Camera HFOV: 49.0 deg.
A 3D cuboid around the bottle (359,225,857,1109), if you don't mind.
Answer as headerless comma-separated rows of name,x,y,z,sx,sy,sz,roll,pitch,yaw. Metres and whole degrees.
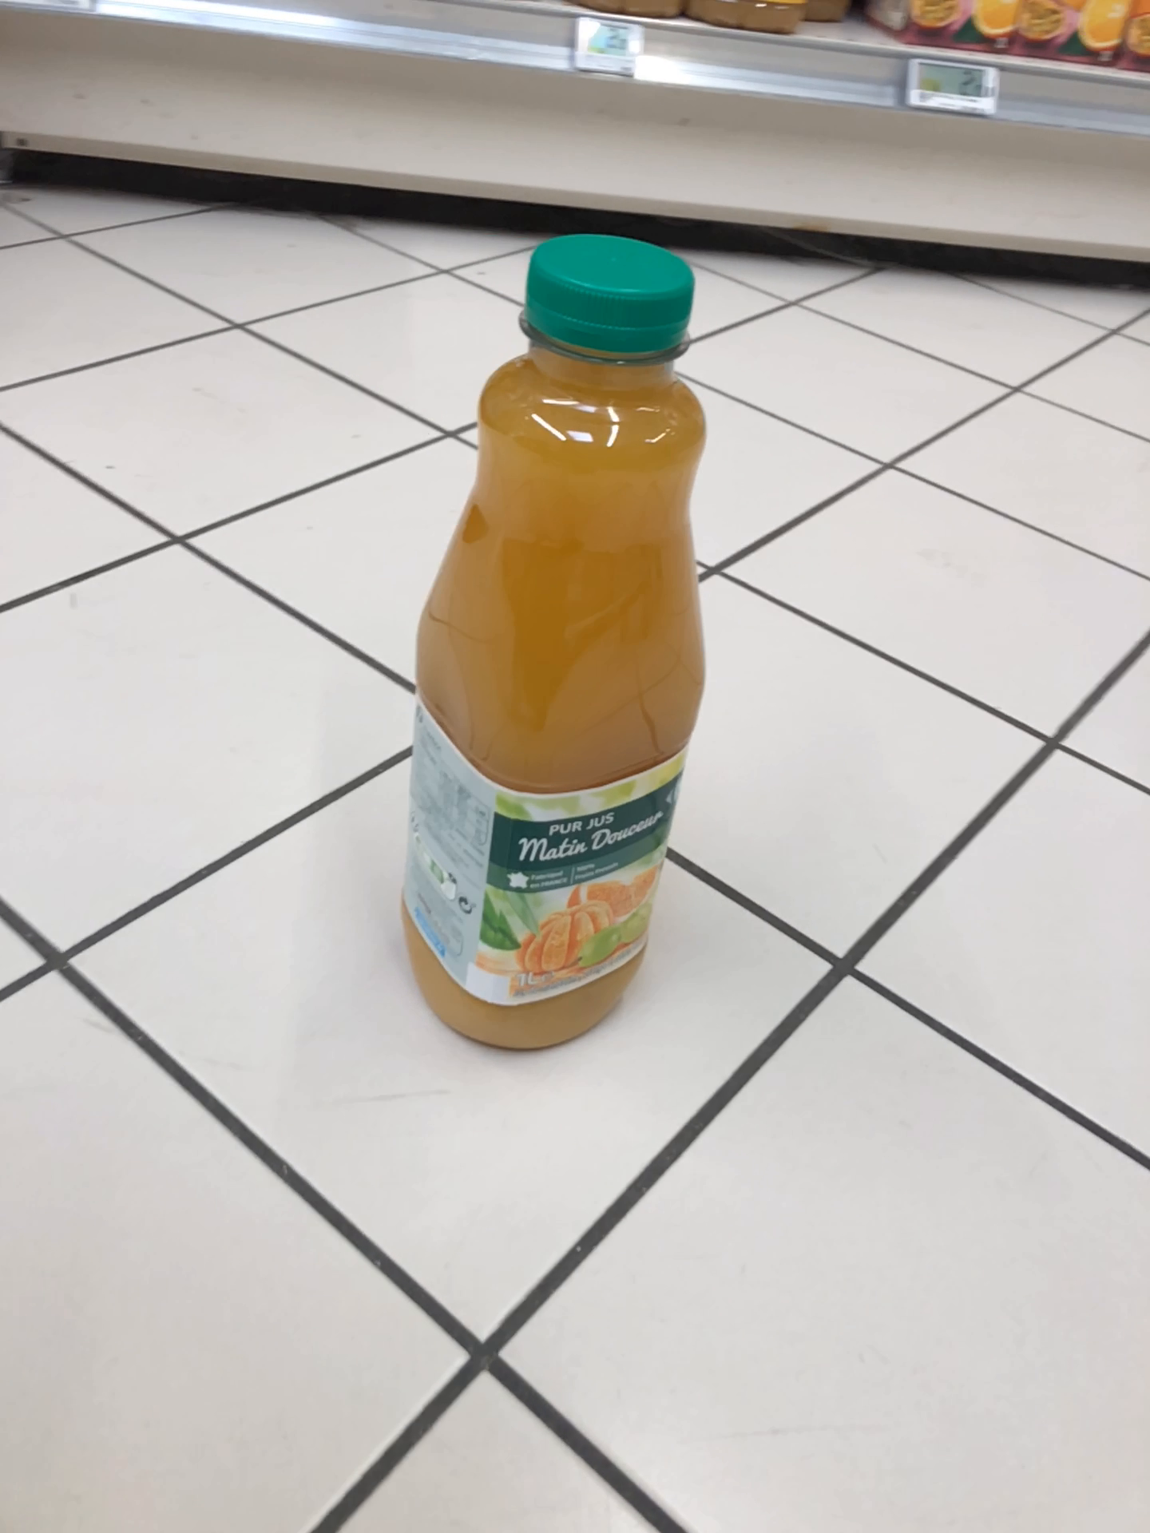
bottle,-0.007,-0.020,0.373,0.080,0.238,0.090,-15,44,-27
